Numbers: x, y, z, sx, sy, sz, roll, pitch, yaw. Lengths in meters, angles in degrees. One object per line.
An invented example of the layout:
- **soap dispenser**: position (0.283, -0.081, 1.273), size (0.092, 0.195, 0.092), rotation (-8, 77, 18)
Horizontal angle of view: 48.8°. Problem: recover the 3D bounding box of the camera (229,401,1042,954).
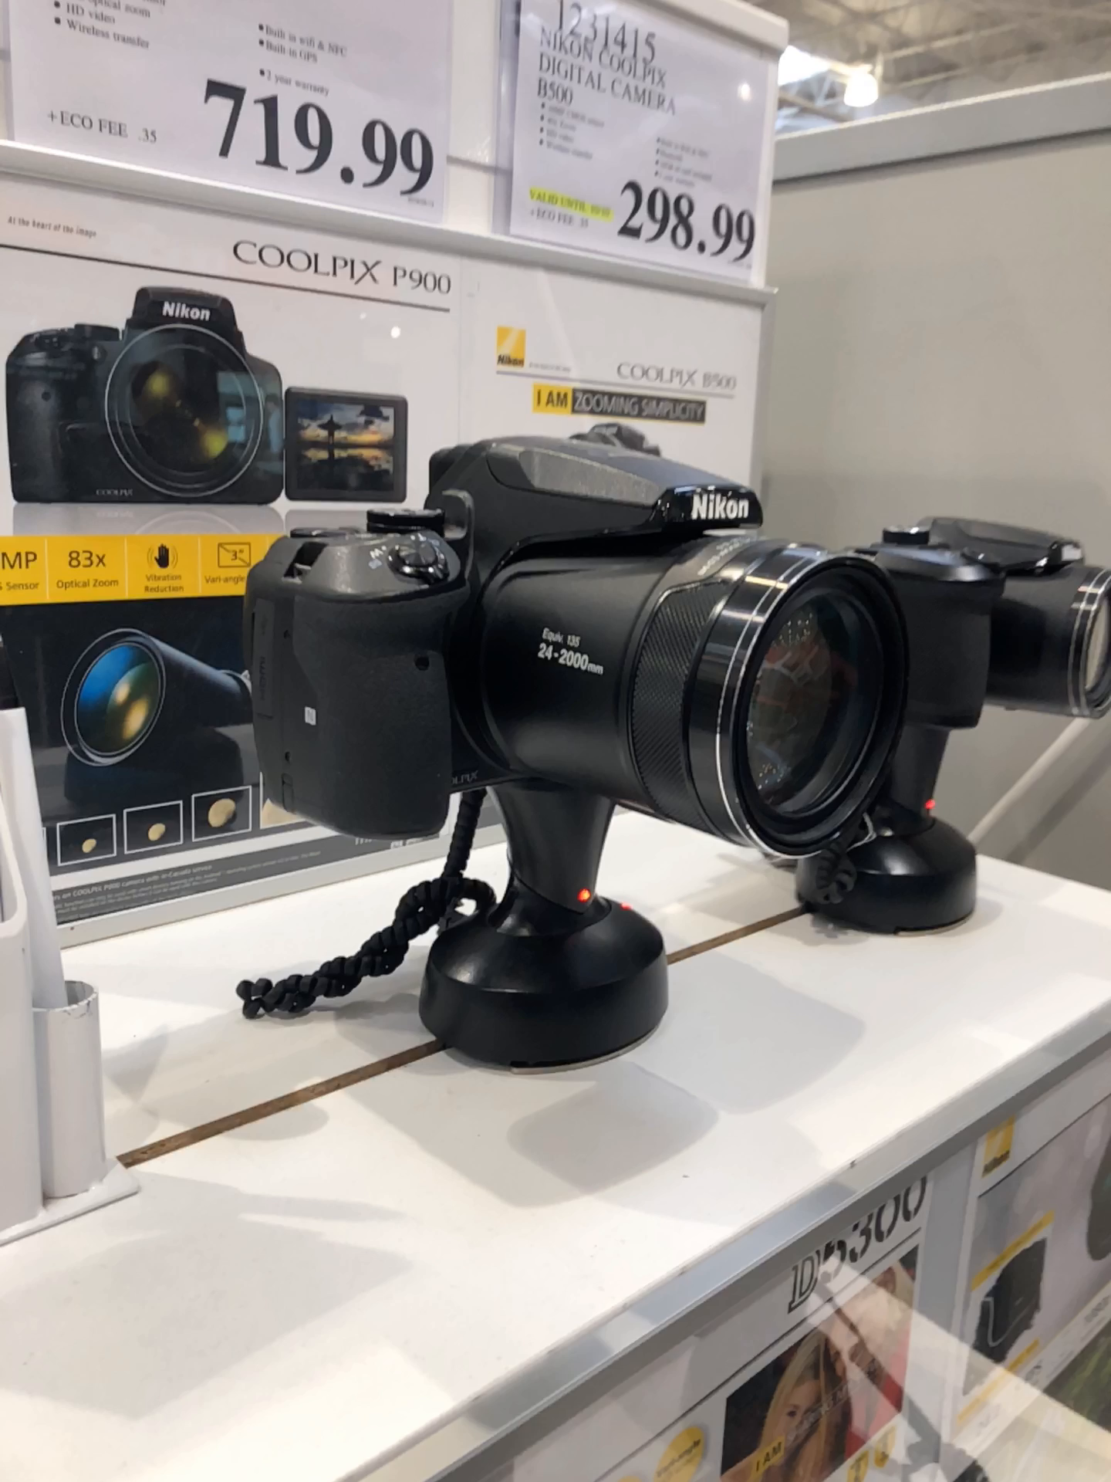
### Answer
- **camera**: position (0.018, -0.032, 0.320), size (0.150, 0.100, 0.140), rotation (-10, 18, -41)
